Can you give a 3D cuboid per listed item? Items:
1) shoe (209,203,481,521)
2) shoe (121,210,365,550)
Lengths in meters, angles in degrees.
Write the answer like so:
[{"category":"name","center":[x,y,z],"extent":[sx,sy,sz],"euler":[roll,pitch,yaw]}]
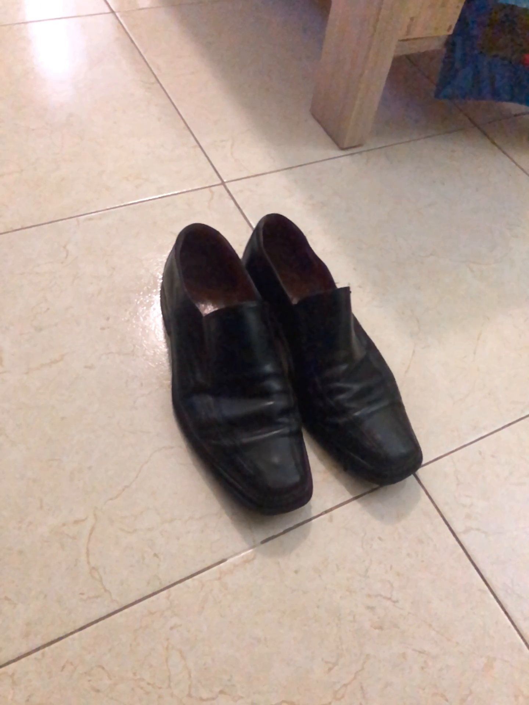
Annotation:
[{"category":"shoe","center":[0.062,-0.006,0.600],"extent":[0.120,0.090,0.311],"euler":[-19,60,-20]},{"category":"shoe","center":[-0.037,0.010,0.567],"extent":[0.120,0.090,0.311],"euler":[-15,59,-18]}]
